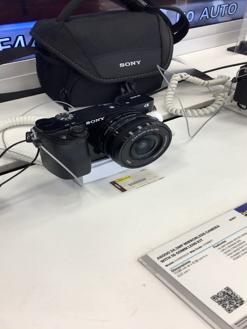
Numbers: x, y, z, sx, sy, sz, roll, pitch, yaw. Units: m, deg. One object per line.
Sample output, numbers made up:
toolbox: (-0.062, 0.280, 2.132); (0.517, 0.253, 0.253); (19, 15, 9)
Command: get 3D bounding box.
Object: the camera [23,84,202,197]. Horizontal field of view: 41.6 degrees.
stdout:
camera: (-0.008, -0.029, 0.326); (0.141, 0.055, 0.071); (-23, 46, -25)
